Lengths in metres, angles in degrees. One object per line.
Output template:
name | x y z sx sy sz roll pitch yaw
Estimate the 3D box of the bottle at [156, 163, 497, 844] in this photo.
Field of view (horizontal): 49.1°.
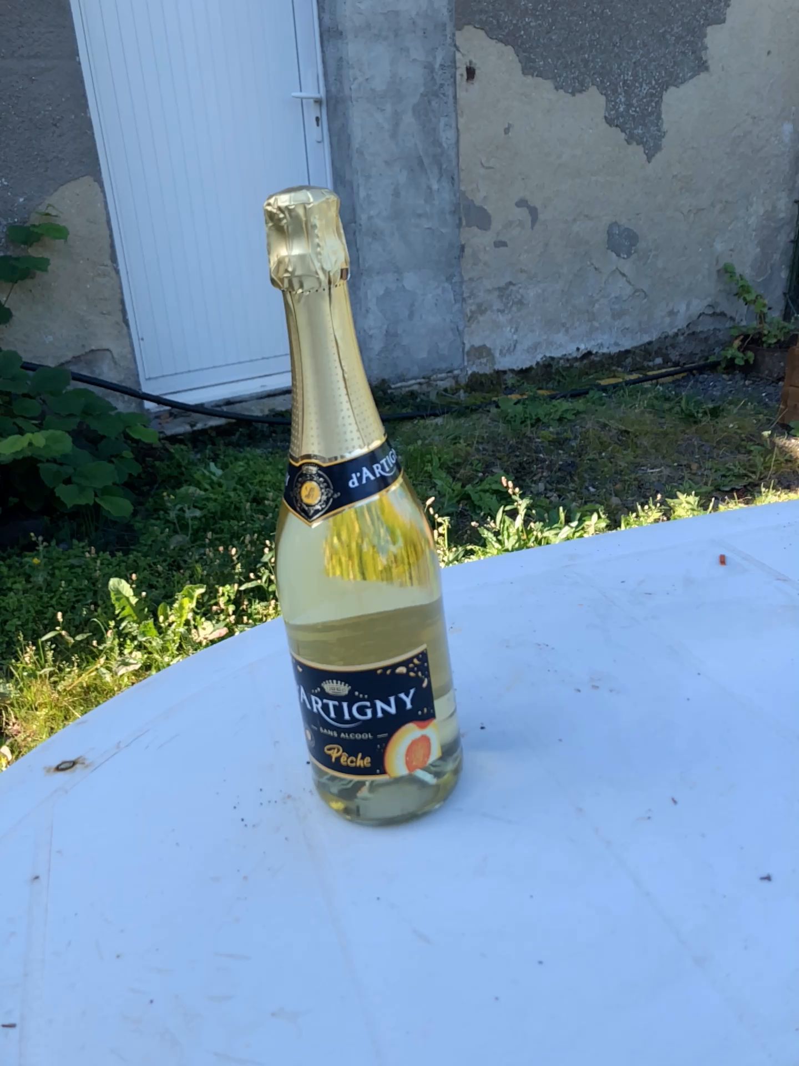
bottle | -0.022 -0.010 0.421 0.090 0.298 0.091 -5 22 2
